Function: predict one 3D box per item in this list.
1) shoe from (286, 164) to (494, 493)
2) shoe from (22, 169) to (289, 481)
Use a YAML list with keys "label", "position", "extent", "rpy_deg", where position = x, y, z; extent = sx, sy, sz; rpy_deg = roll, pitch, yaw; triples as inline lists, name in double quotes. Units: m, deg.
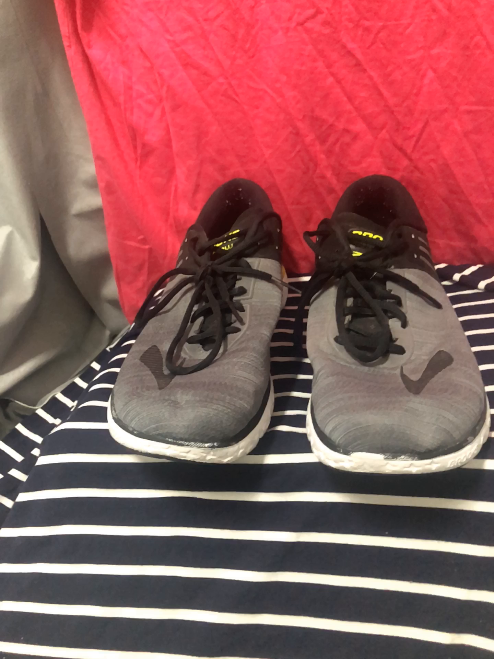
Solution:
- label: "shoe"
  position: [0.087, -0.031, 0.350]
  extent: [0.104, 0.079, 0.282]
  rpy_deg: [-1, 29, 9]
- label: "shoe"
  position: [-0.029, -0.032, 0.375]
  extent: [0.102, 0.079, 0.292]
  rpy_deg: [-2, 29, 8]
